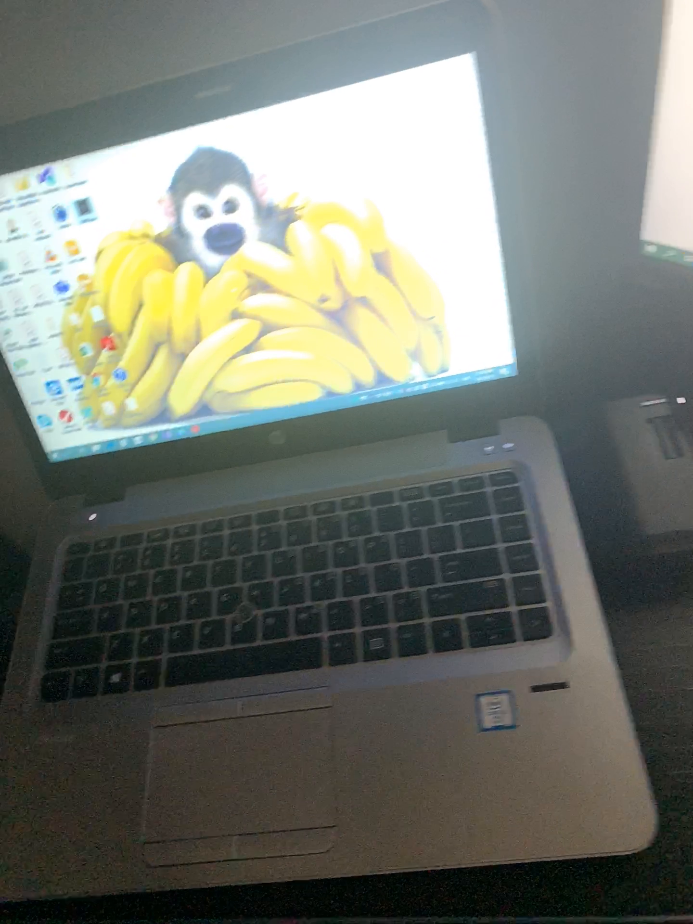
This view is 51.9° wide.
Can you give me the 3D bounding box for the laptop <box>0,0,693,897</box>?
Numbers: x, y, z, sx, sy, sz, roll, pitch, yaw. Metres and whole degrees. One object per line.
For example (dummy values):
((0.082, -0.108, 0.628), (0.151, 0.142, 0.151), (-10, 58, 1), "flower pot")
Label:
((-0.061, -0.015, 0.337), (0.318, 0.191, 0.327), (-11, 53, 10), "laptop")
